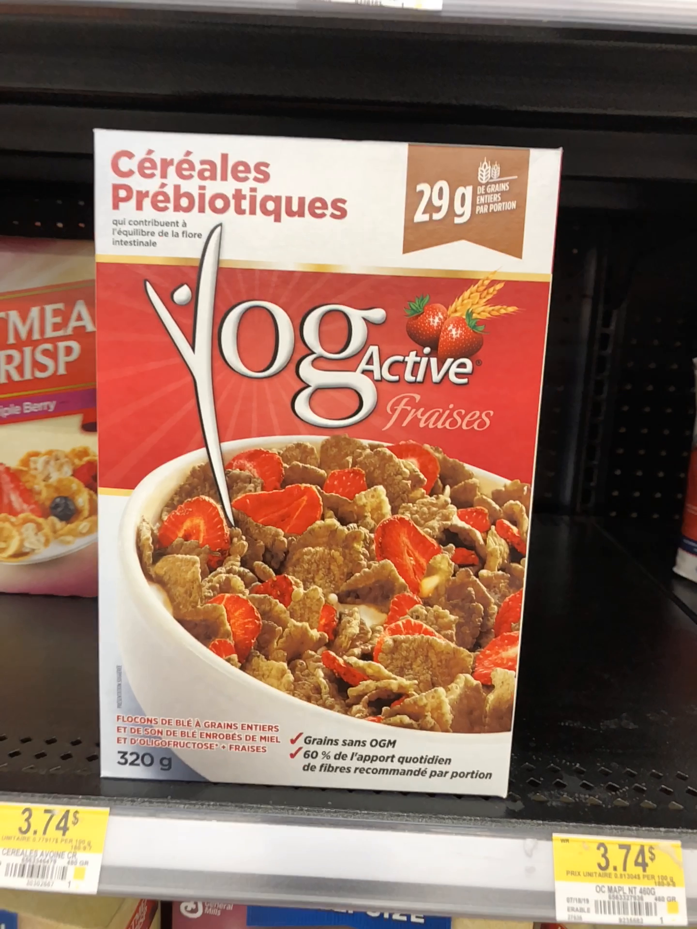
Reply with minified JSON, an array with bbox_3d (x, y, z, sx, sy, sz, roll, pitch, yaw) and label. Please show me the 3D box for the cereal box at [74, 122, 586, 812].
[{"bbox_3d":[-0.014,0.008,0.353,0.200,0.289,0.050,3,11,0],"label":"cereal box"}]
